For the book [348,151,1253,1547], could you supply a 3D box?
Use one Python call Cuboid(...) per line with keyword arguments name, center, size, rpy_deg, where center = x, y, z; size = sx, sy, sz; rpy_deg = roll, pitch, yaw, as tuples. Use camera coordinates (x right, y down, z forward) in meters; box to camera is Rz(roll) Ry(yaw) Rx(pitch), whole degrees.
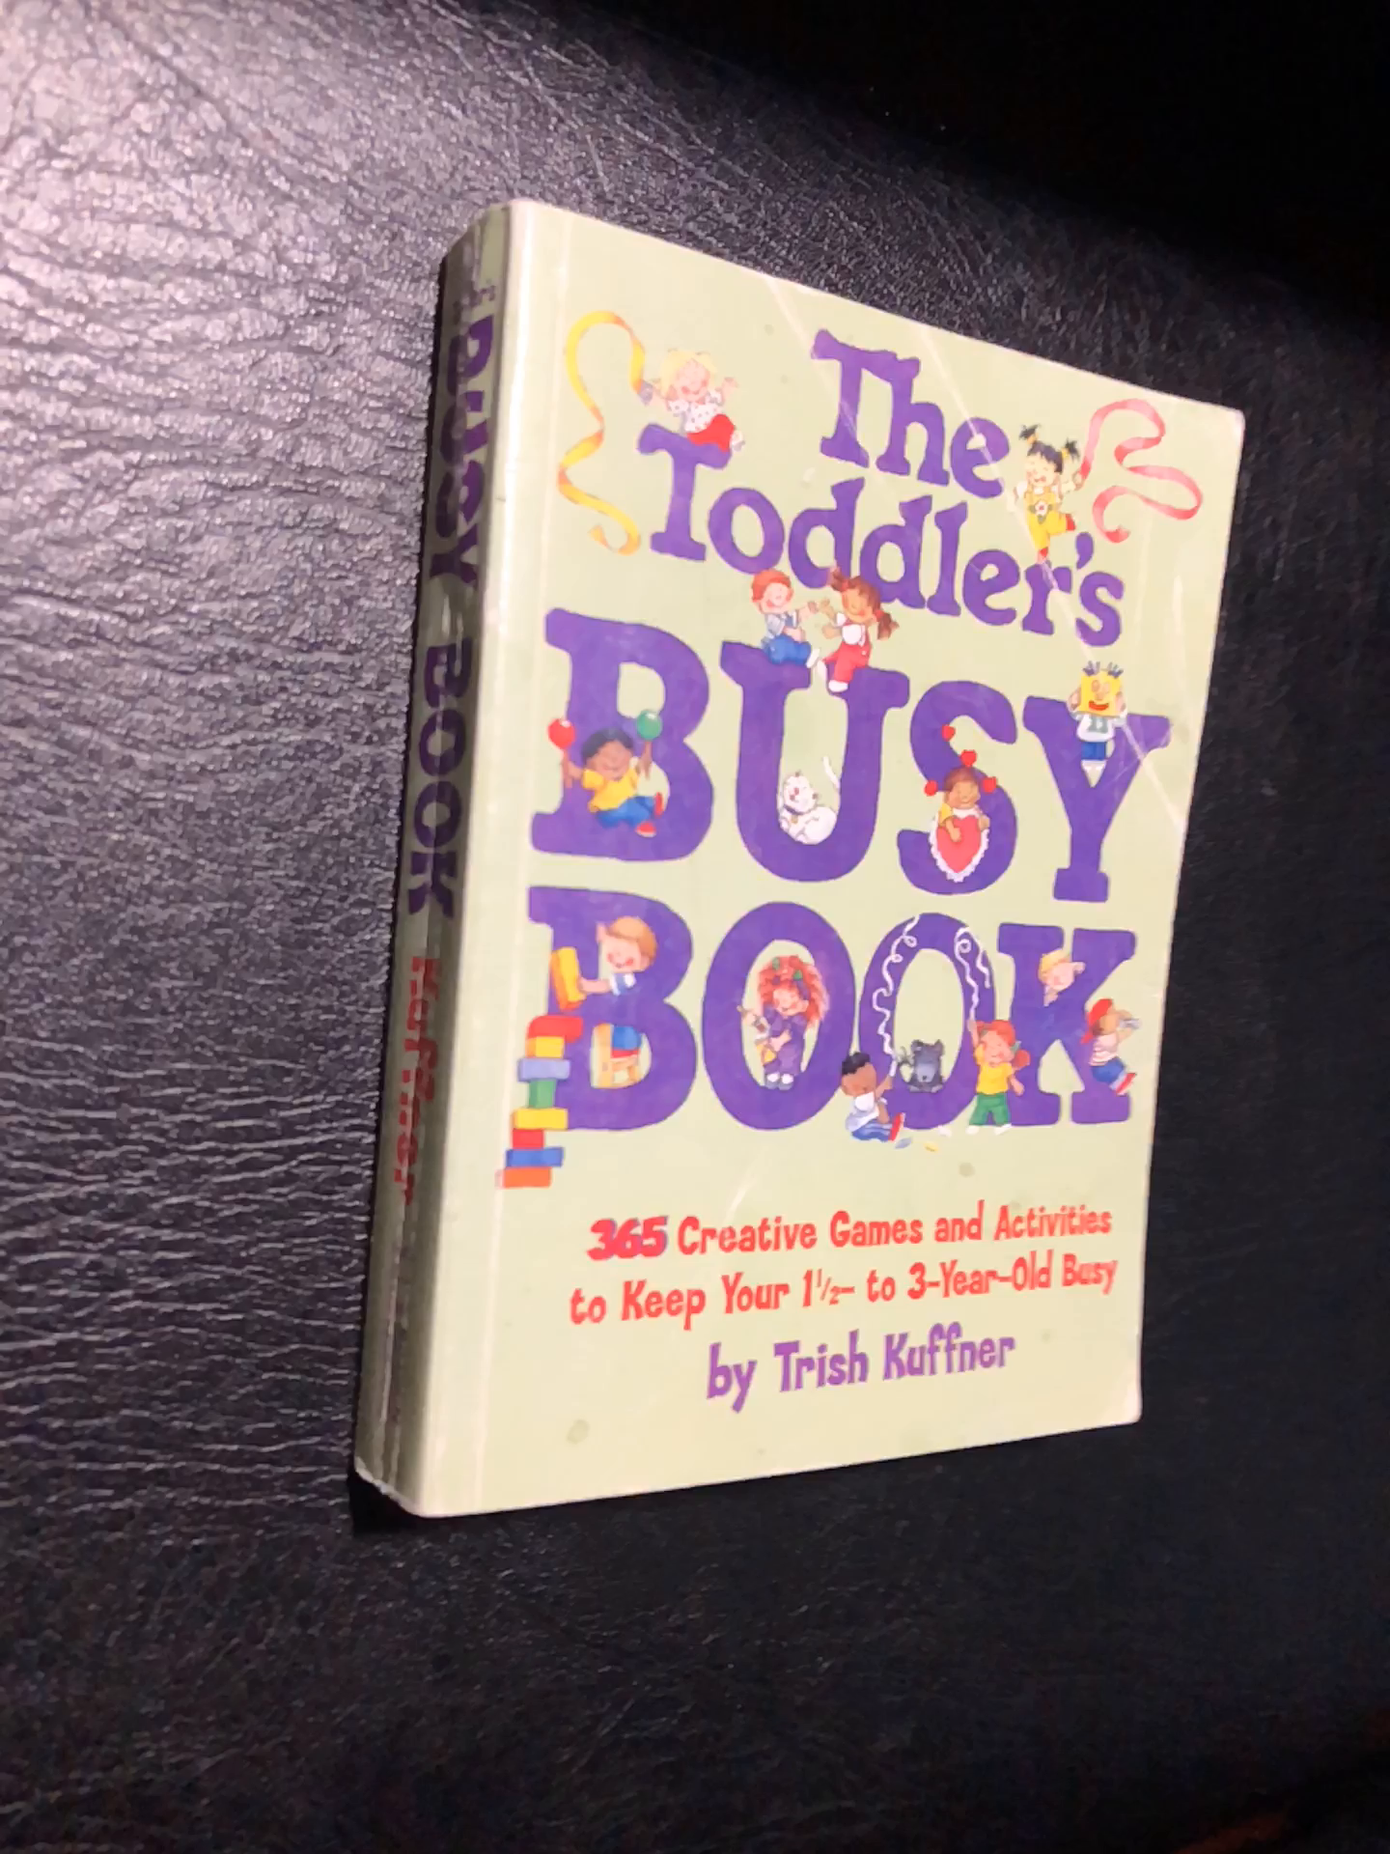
Cuboid(name="book", center=(0.023, -0.007, 0.242), size=(0.136, 0.033, 0.176), rpy_deg=(4, 90, -30))
